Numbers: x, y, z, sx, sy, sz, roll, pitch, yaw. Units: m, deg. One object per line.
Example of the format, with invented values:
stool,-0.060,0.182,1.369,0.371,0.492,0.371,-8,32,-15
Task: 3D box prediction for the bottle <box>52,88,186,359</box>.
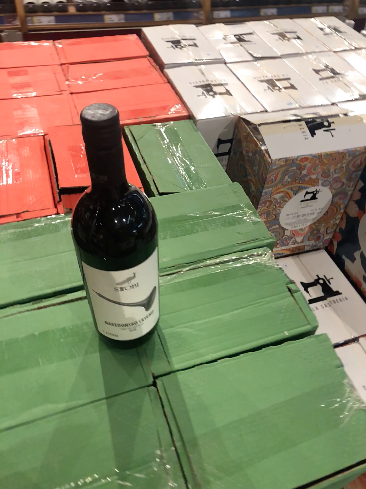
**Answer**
bottle,-0.060,0.001,0.410,0.090,0.288,0.080,-8,48,-12
